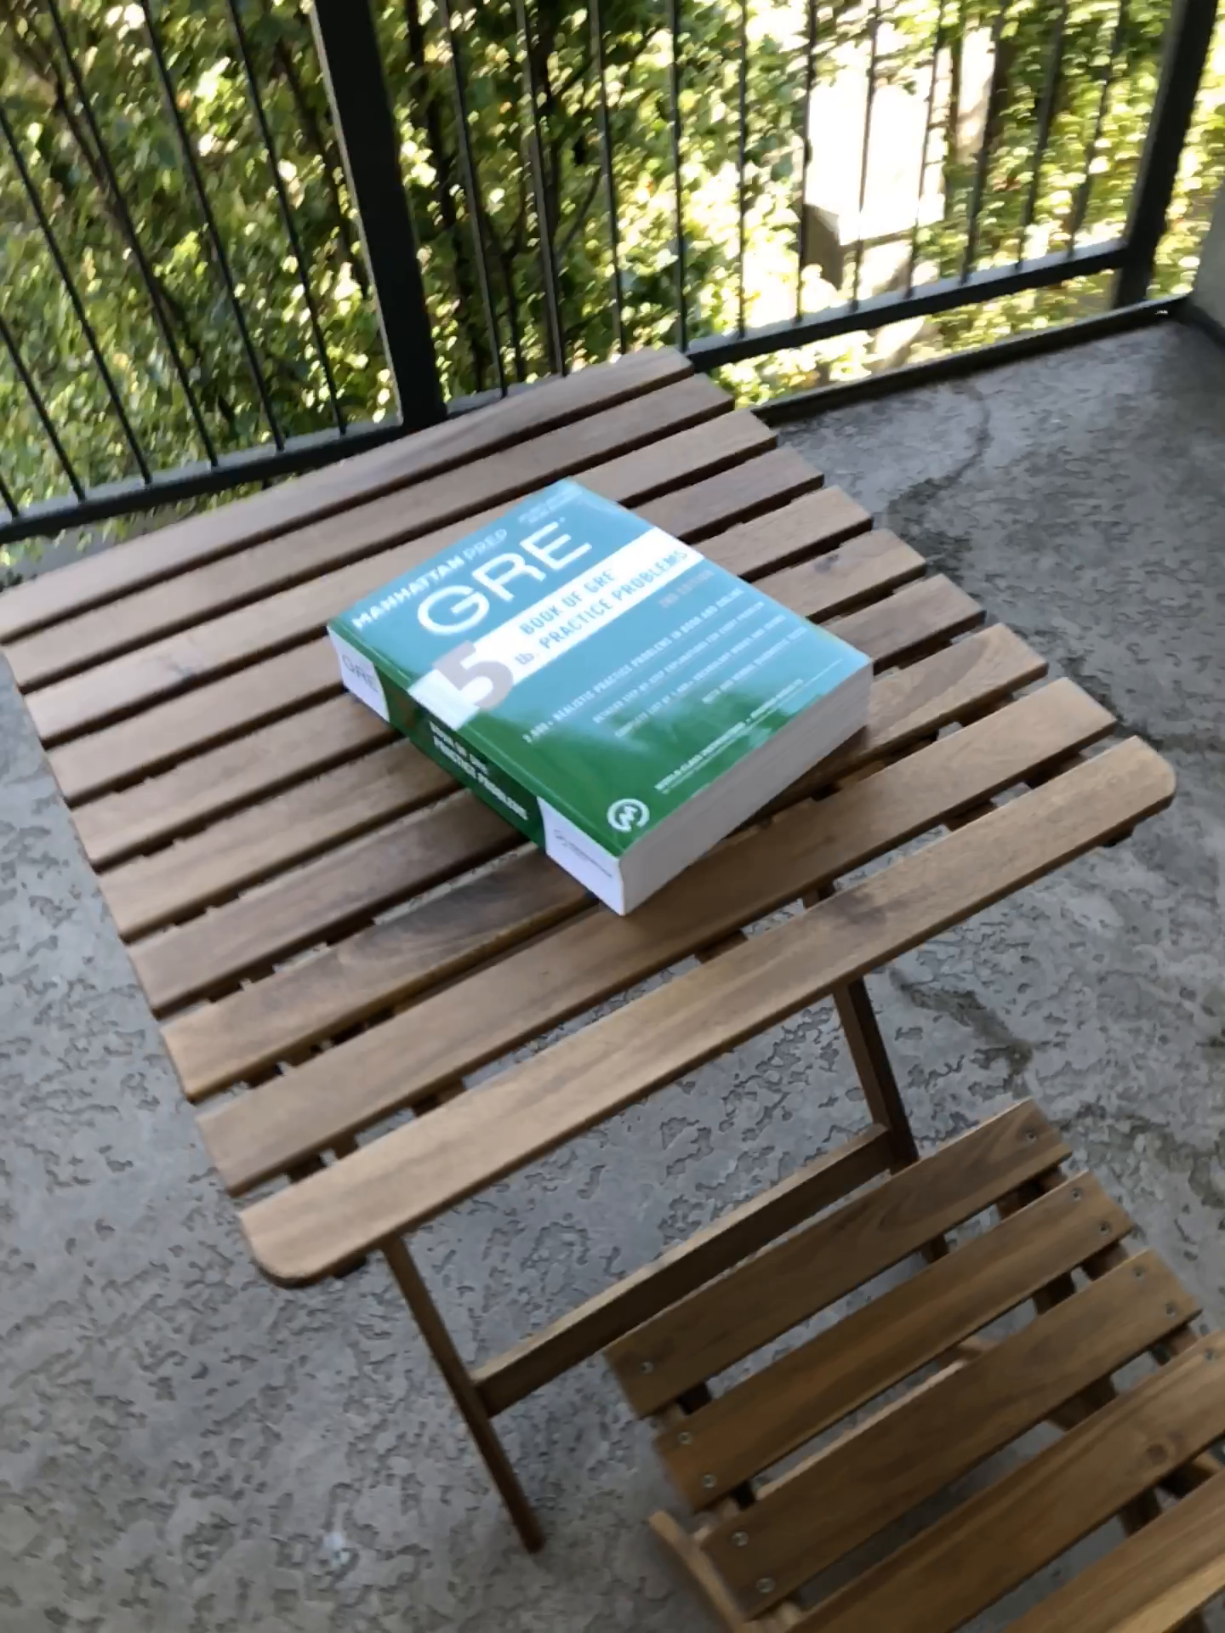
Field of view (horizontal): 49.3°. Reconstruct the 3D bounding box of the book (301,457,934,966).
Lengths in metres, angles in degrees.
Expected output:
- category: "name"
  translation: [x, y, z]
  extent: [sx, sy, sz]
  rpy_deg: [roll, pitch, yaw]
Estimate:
- category: "book"
  translation: [-0.001, -0.087, 0.855]
  extent: [0.250, 0.060, 0.311]
  rpy_deg: [-38, 57, -24]
